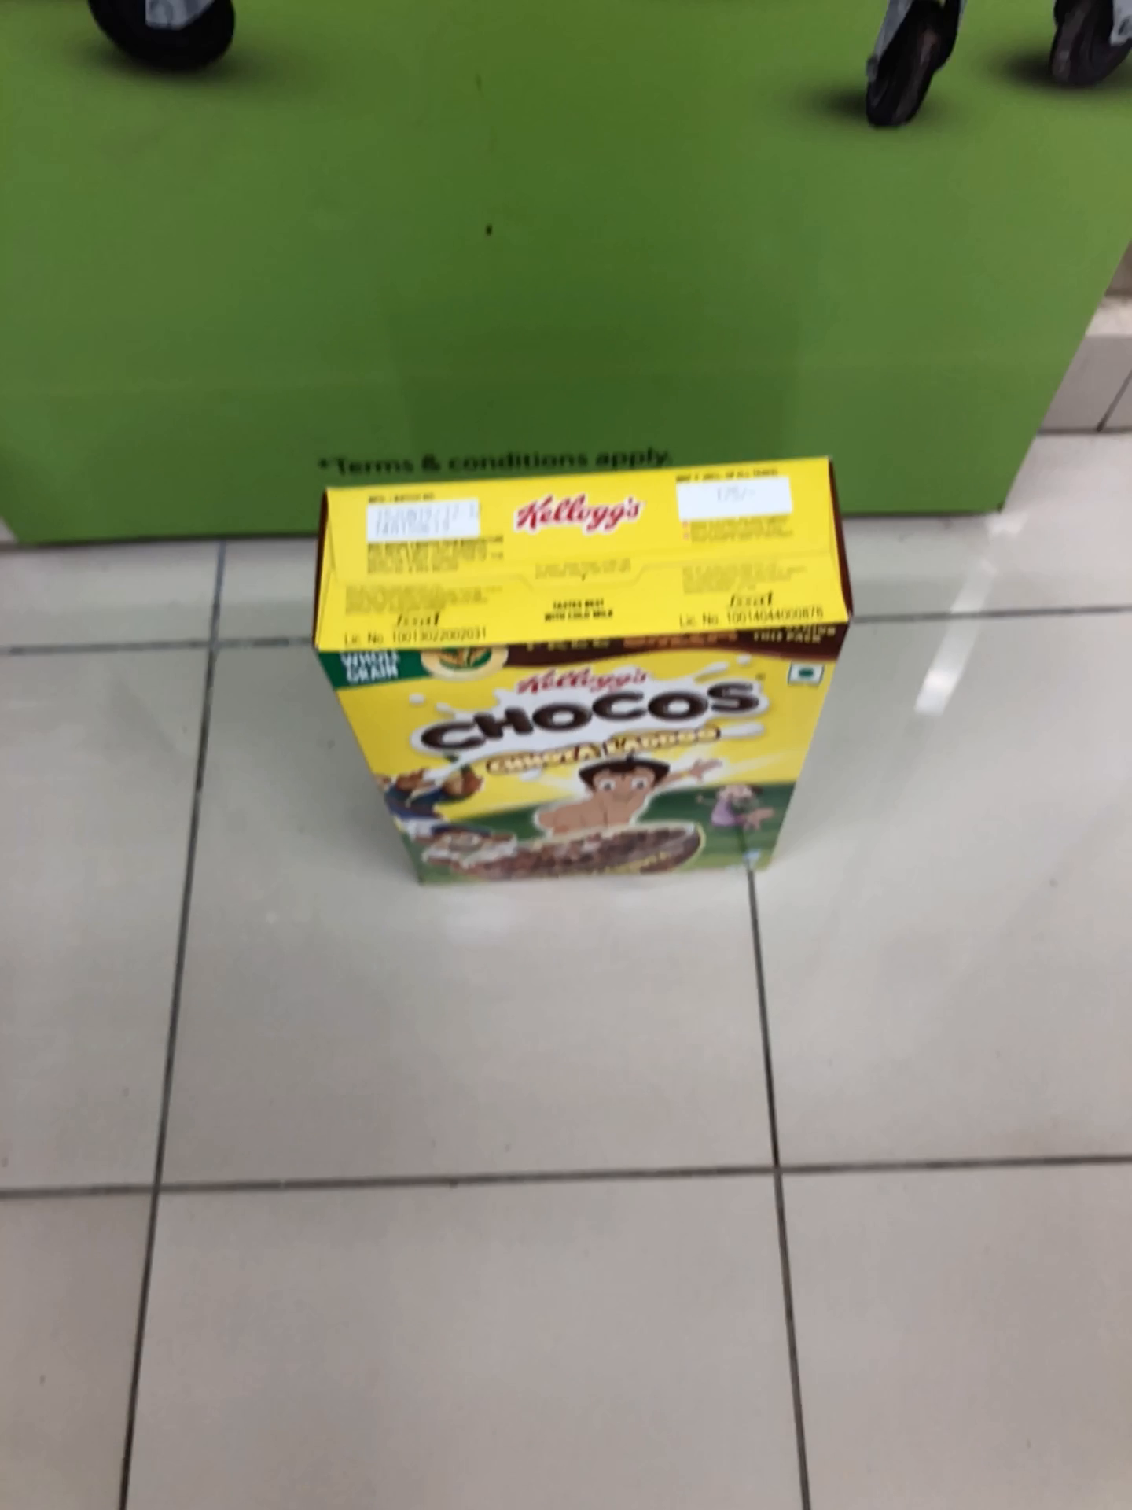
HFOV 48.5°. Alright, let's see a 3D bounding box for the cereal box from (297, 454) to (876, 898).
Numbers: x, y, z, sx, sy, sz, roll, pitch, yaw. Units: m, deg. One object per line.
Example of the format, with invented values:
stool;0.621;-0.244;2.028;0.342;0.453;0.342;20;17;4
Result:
cereal box;0.009;-0.016;0.545;0.190;0.259;0.070;-3;66;0
